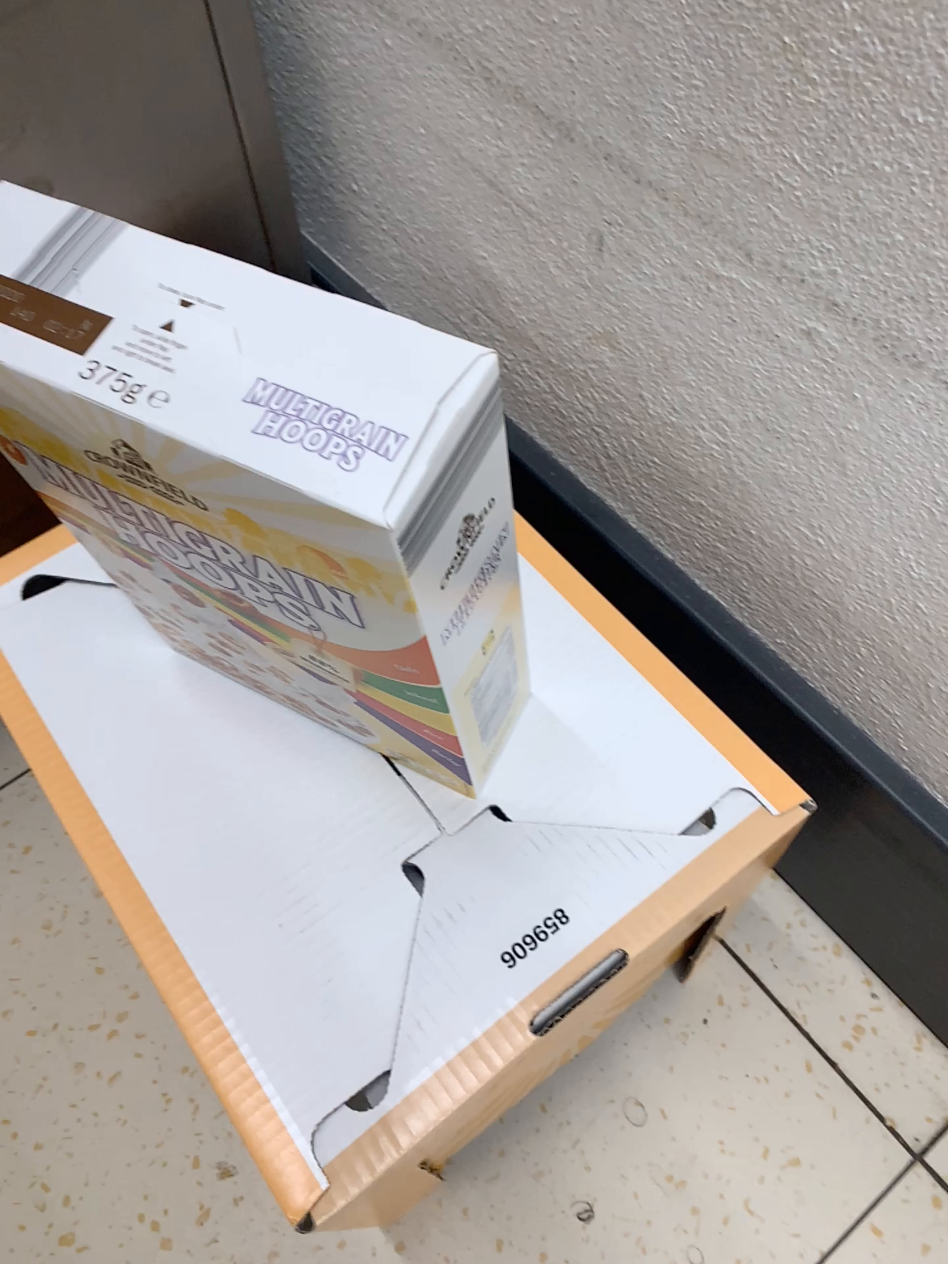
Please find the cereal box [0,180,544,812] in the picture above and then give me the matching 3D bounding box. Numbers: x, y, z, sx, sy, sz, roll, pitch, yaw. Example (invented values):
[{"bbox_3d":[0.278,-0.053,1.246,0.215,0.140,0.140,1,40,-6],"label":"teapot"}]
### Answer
[{"bbox_3d":[-0.079,-0.034,0.405,0.200,0.249,0.070,24,69,16],"label":"cereal box"}]
